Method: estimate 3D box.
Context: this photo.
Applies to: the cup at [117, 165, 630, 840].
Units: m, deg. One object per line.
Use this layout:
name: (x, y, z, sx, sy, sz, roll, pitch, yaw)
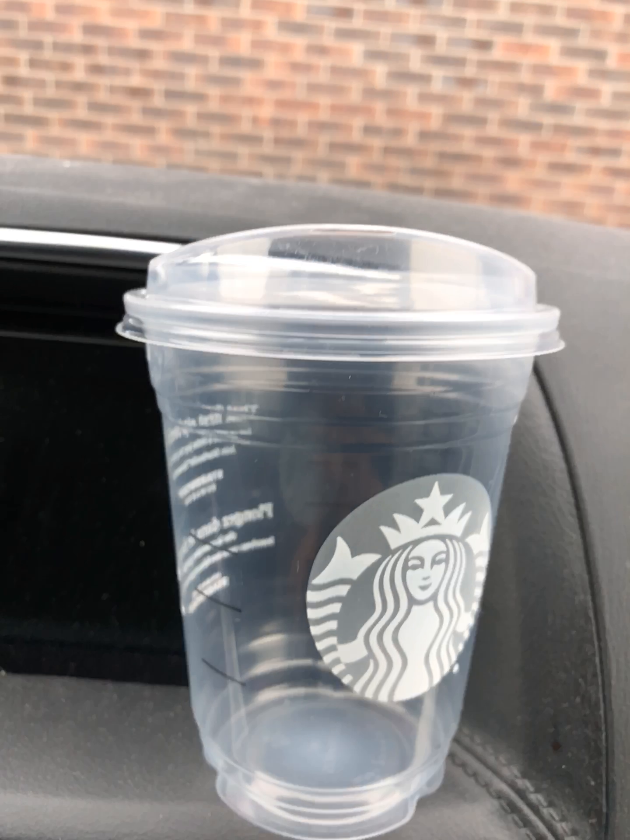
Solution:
cup: (0.008, 0.014, 0.161, 0.088, 0.125, 0.082, 5, 17, -1)
